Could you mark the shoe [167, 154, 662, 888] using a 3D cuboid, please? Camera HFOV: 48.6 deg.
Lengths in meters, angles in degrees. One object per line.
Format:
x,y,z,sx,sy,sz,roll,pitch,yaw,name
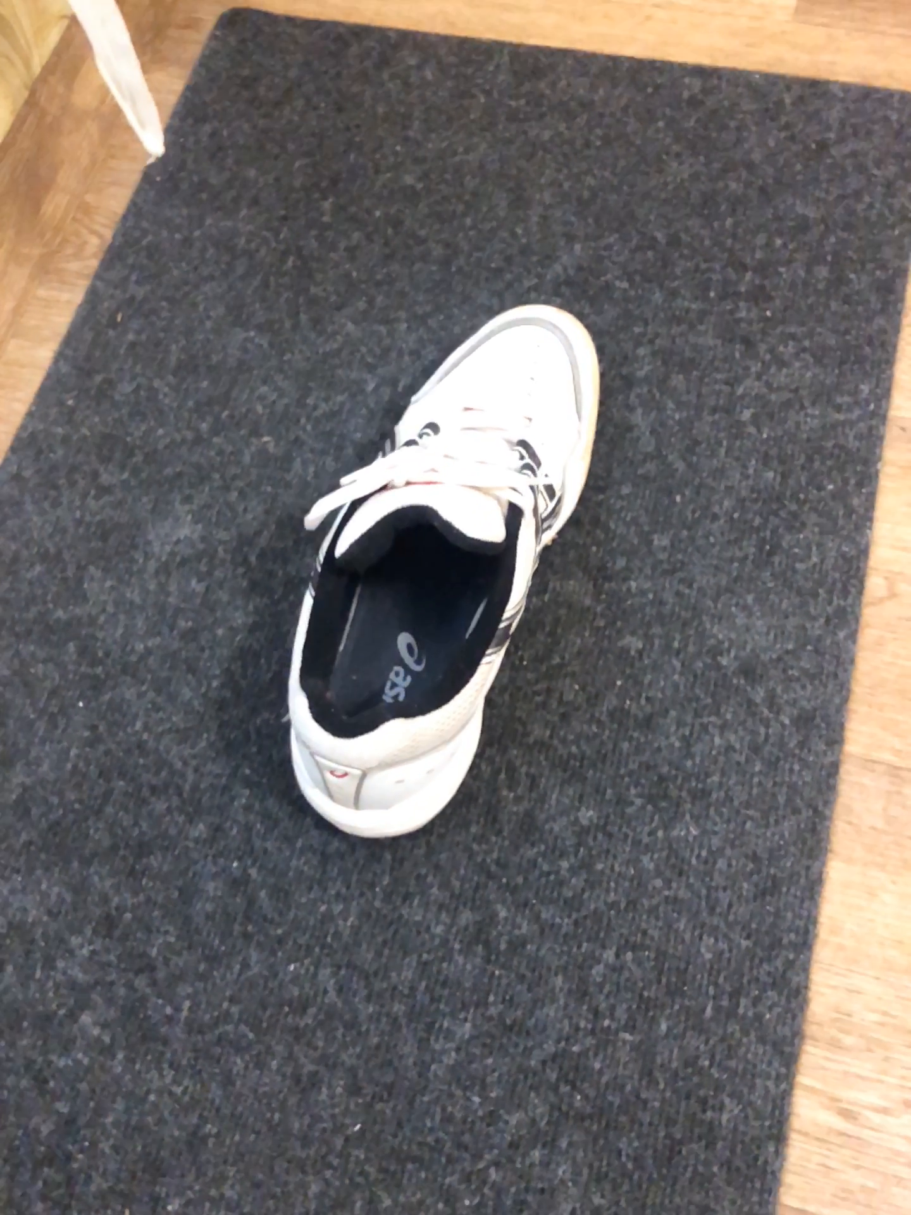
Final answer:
-0.002,-0.041,0.444,0.100,0.110,0.289,16,70,12,shoe
